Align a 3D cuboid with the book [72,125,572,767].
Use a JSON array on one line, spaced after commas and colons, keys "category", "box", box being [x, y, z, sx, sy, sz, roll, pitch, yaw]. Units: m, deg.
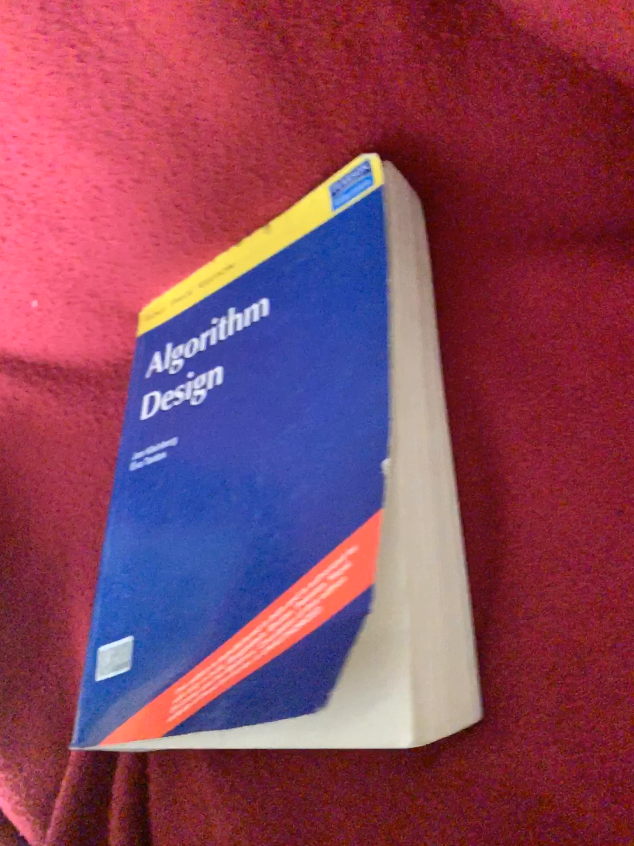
[{"category": "book", "box": [-0.011, 0.017, 0.307, 0.191, 0.060, 0.251, -21, 56, 33]}]
